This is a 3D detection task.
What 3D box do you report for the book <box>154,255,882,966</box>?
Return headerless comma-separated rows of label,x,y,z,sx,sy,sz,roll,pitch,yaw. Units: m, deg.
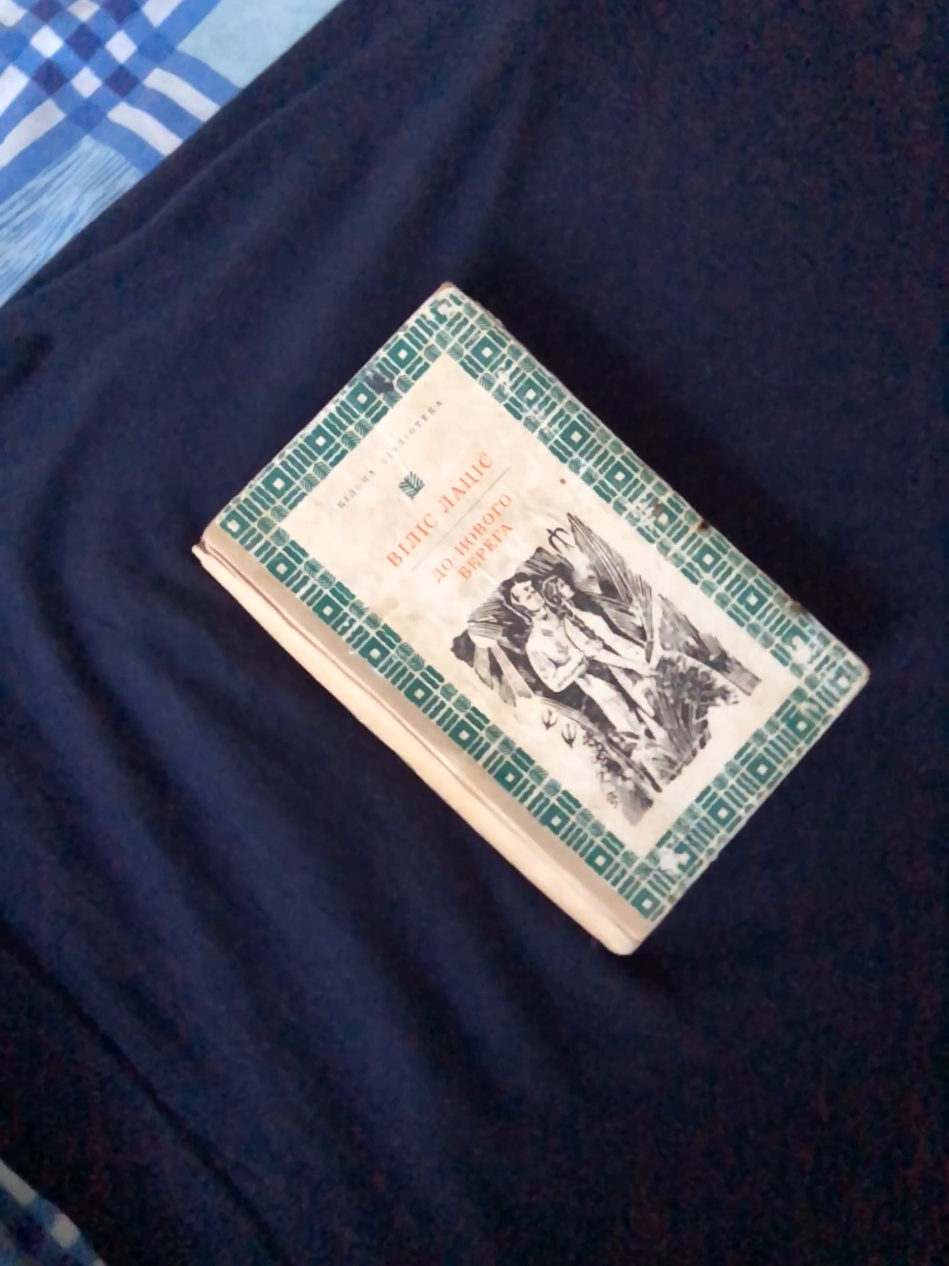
book,0.015,-0.009,0.365,0.201,0.040,0.134,42,86,2
